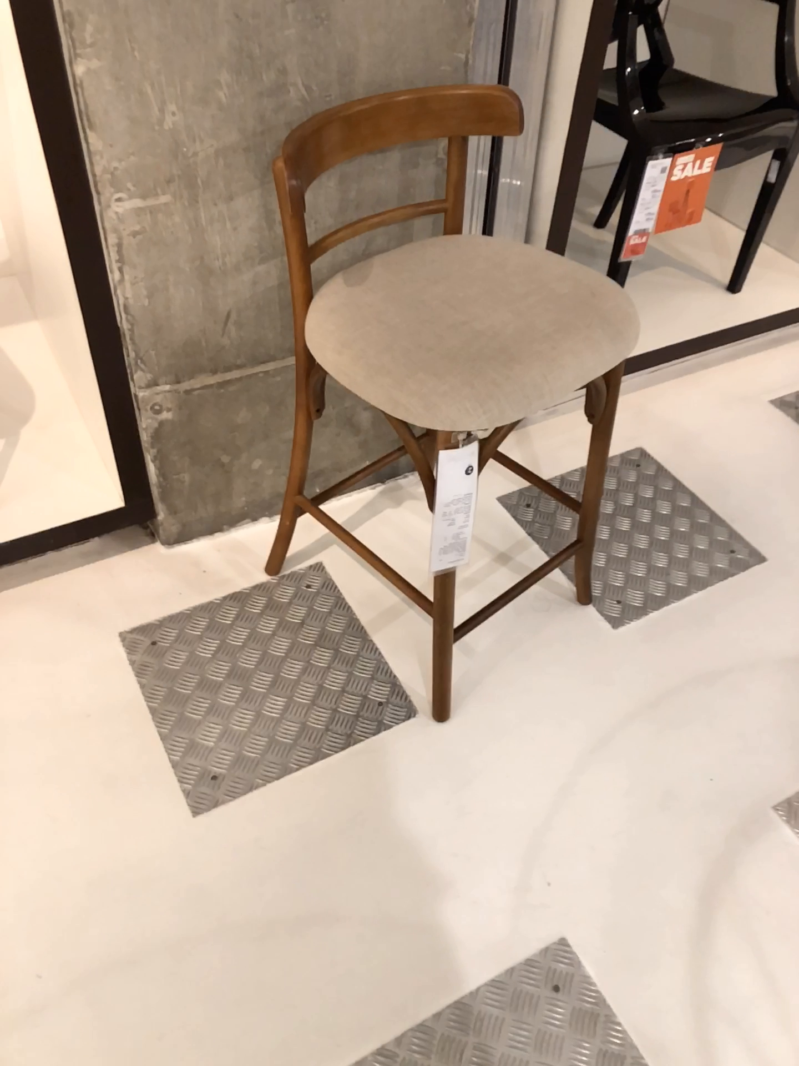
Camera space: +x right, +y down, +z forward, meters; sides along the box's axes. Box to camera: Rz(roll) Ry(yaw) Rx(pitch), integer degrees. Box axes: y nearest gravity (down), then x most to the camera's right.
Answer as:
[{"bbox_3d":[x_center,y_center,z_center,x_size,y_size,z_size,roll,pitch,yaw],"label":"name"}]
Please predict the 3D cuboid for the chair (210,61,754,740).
[{"bbox_3d":[0.083,-0.193,1.387,0.492,0.814,0.481,-32,55,-31],"label":"chair"}]
